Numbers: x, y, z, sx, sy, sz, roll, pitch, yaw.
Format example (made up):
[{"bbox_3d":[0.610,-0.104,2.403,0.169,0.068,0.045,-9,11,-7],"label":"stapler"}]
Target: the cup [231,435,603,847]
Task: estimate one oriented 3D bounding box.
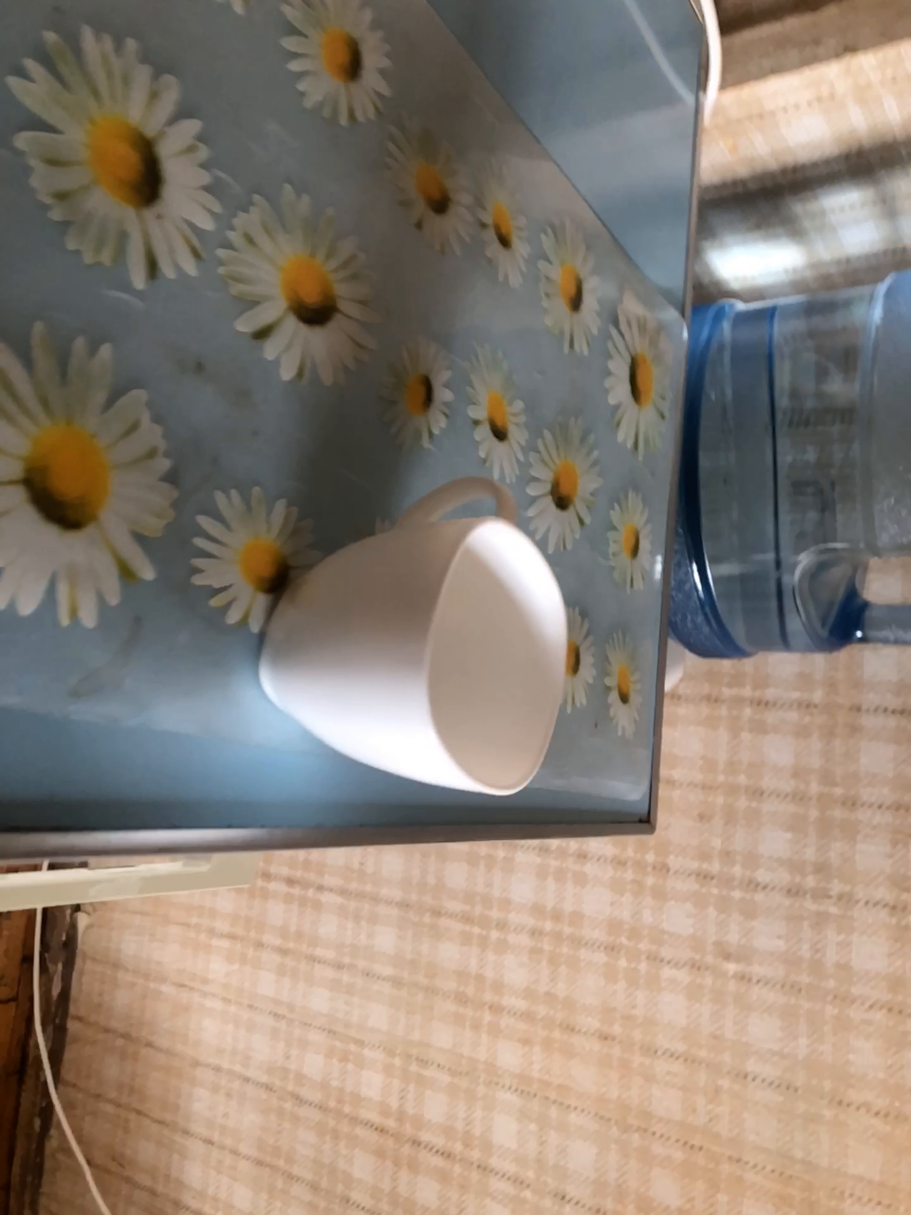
[{"bbox_3d":[-0.008,0.011,0.302,0.085,0.070,0.102,10,82,-56],"label":"cup"}]
